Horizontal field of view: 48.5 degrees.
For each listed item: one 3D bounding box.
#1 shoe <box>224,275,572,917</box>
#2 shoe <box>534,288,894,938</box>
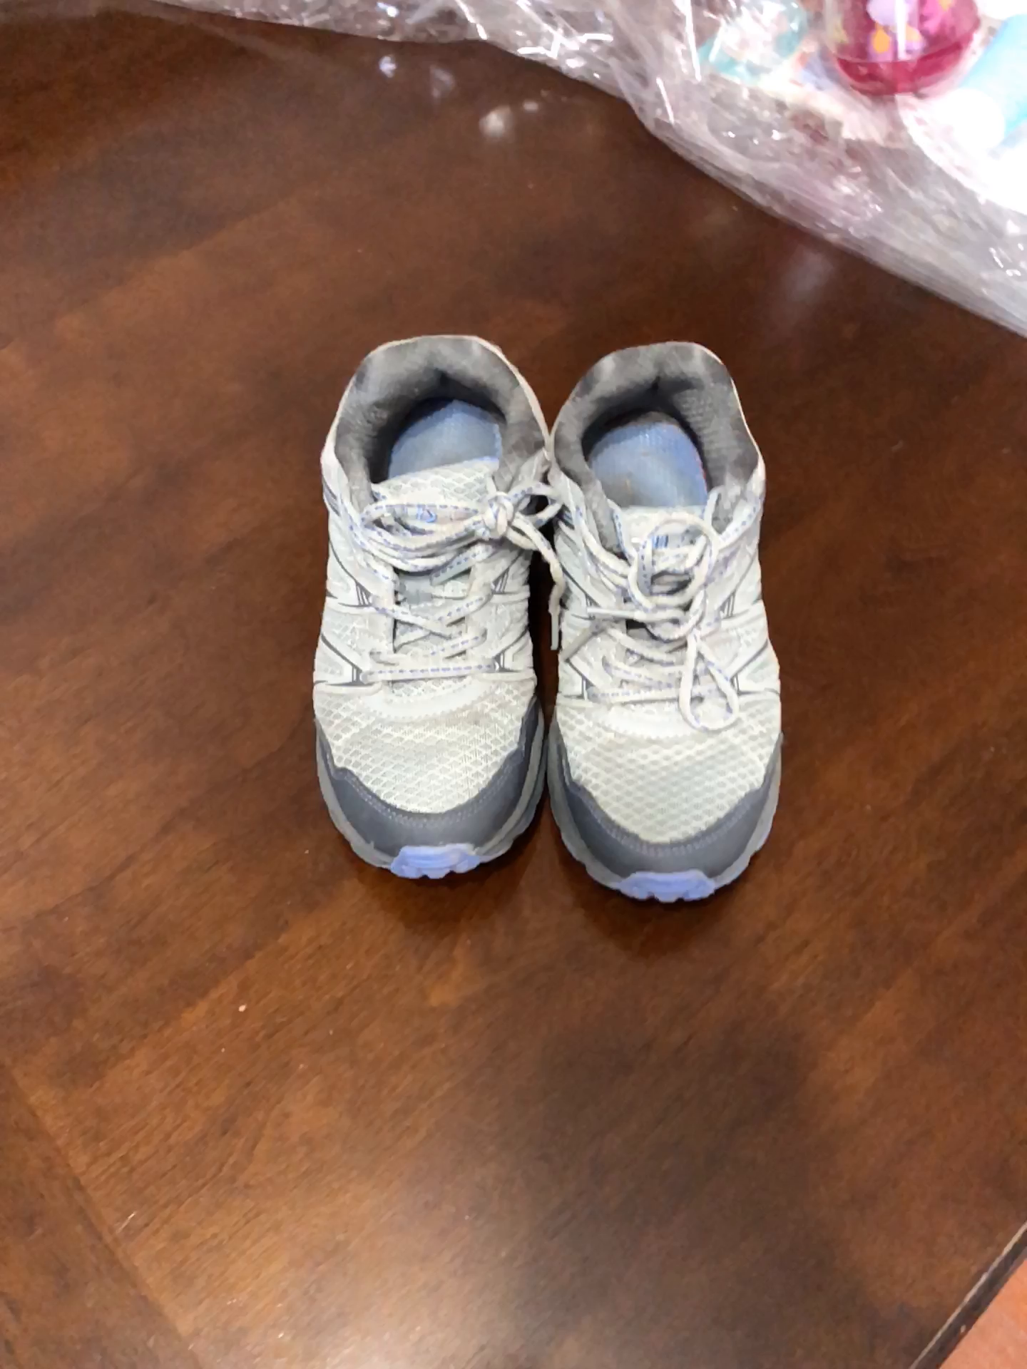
[{"bbox_3d":[-0.039,-0.043,0.469,0.110,0.100,0.250,-1,58,0],"label":"shoe"},{"bbox_3d":[0.066,-0.037,0.477,0.110,0.100,0.260,-1,58,0],"label":"shoe"}]
